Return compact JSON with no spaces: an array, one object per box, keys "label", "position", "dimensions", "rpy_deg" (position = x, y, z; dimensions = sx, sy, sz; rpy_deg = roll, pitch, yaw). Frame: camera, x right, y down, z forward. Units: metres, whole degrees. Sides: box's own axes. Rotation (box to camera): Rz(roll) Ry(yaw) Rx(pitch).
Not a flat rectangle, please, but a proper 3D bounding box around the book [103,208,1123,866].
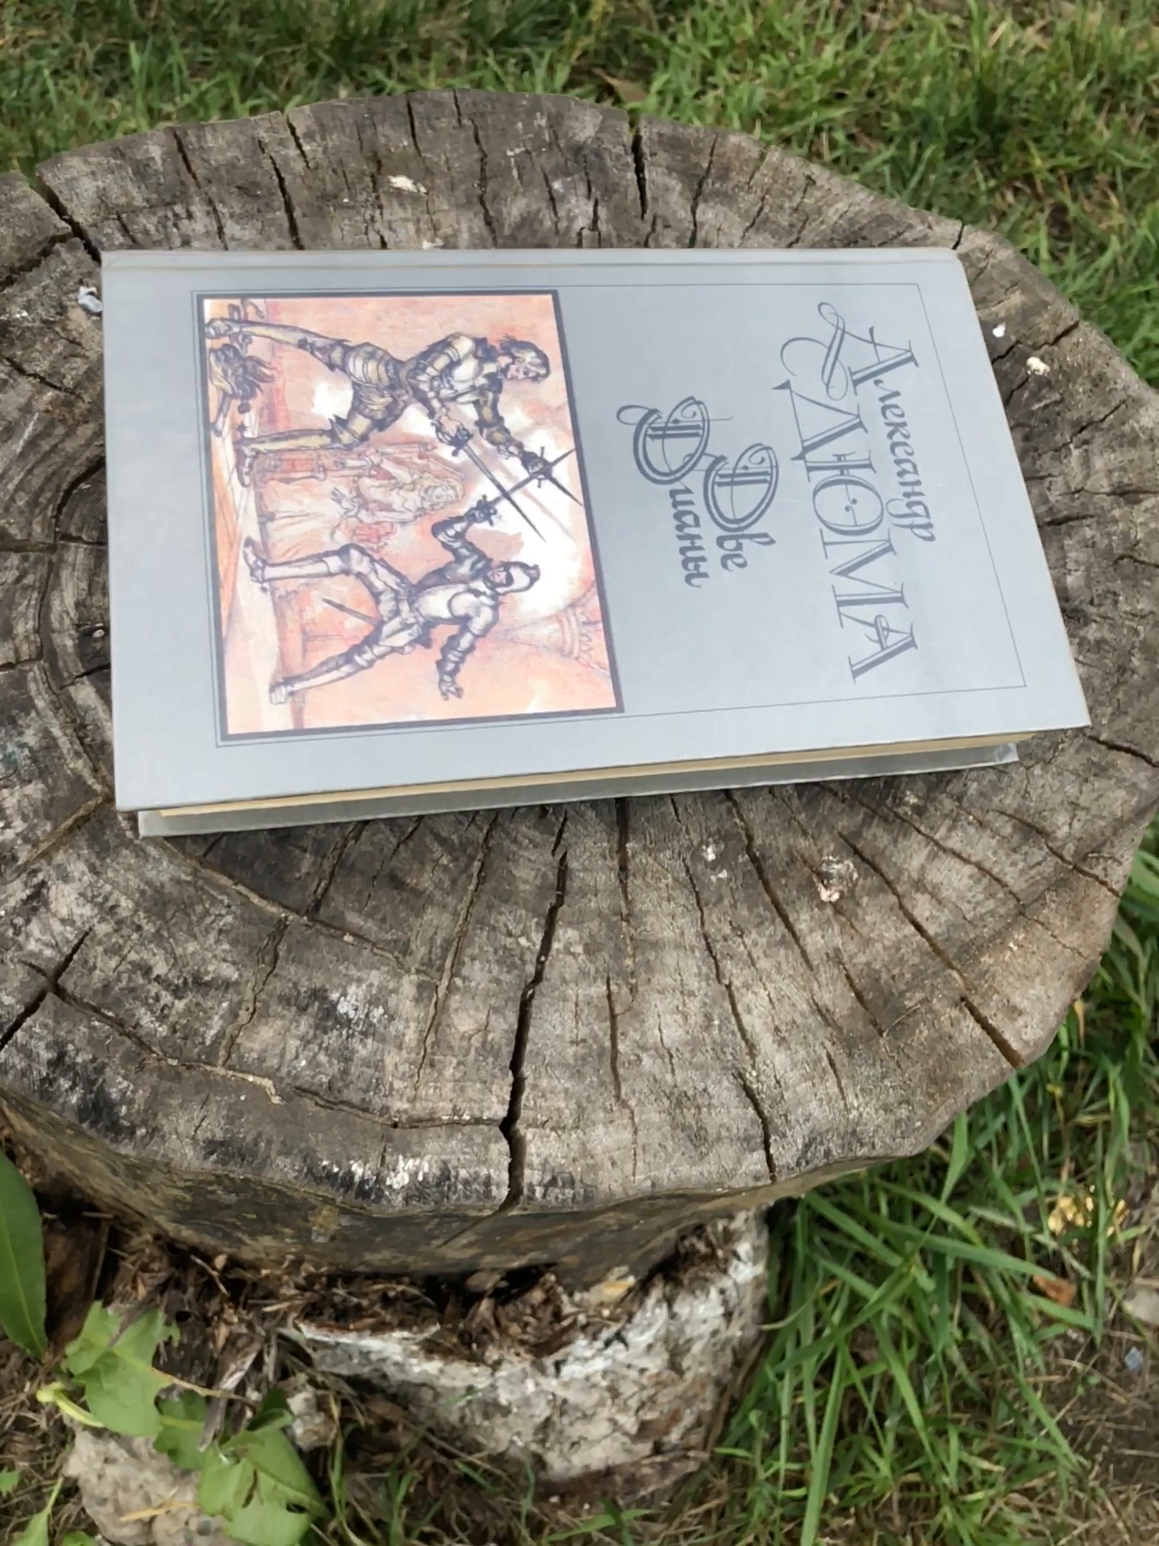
[{"label":"book","position":[0.003,-0.060,0.291],"dimensions":[0.204,0.030,0.140],"rpy_deg":[-4,71,-10]}]
